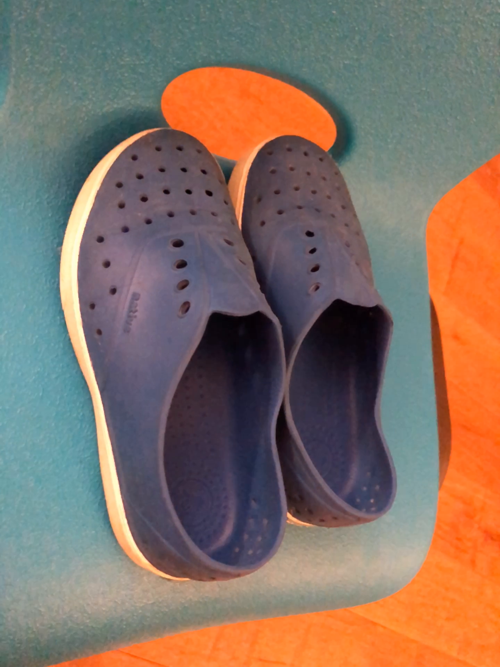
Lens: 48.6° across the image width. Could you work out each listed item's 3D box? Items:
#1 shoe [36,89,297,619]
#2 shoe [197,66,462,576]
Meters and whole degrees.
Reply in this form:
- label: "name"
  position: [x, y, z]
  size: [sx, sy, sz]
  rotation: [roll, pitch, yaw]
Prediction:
- label: "shoe"
  position: [-0.047, 0.007, 0.275]
  size: [0.090, 0.080, 0.210]
  rotation: [-1, 81, -31]
- label: "shoe"
  position: [0.040, -0.008, 0.312]
  size: [0.100, 0.070, 0.240]
  rotation: [-1, 81, -31]
